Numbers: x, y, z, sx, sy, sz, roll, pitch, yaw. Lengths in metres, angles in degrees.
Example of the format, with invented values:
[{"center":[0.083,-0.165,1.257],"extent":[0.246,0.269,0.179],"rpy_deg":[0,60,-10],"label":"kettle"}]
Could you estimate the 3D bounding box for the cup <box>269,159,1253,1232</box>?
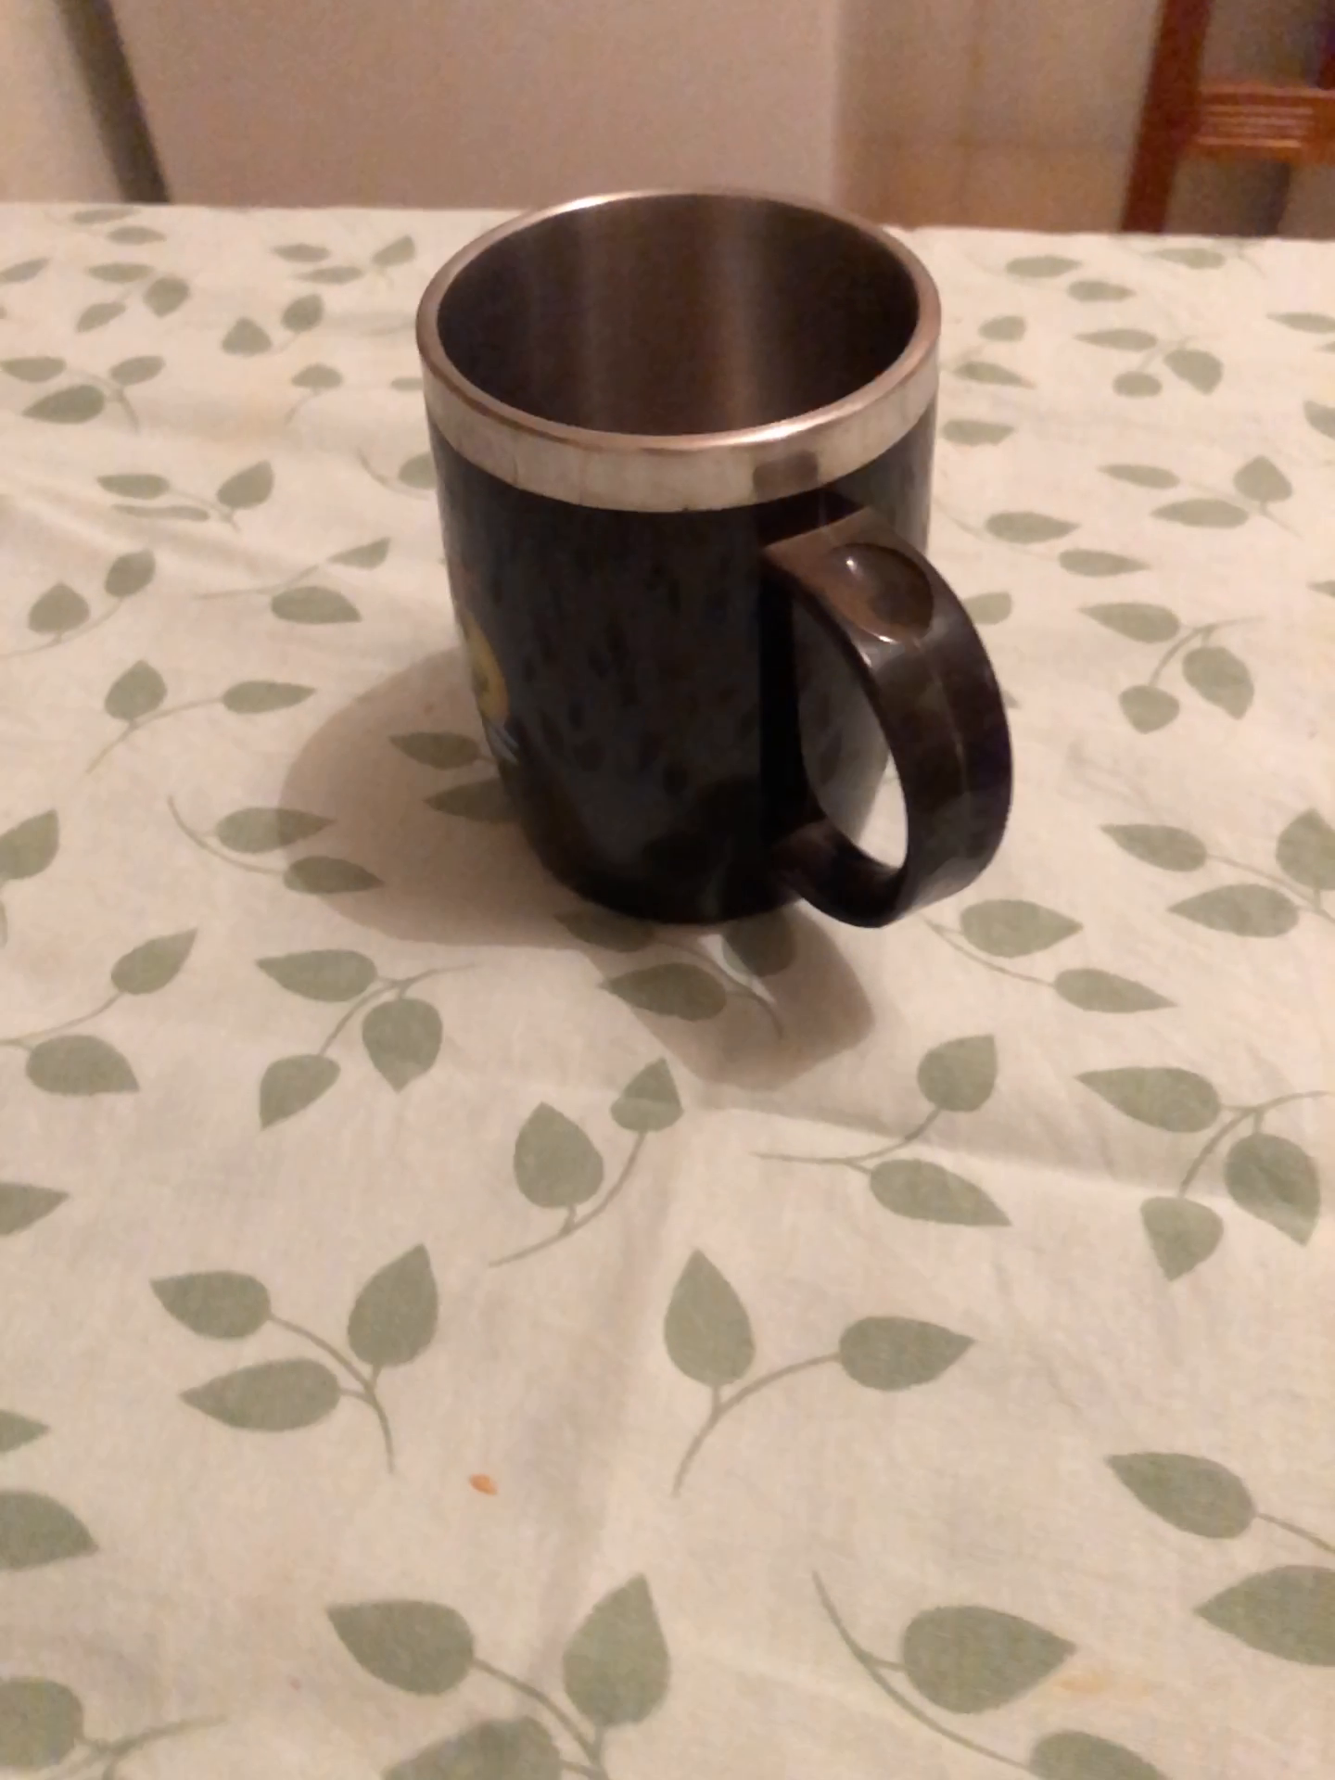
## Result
[{"center":[0.010,-0.038,0.273],"extent":[0.090,0.119,0.131],"rpy_deg":[-29,54,-20],"label":"cup"}]
